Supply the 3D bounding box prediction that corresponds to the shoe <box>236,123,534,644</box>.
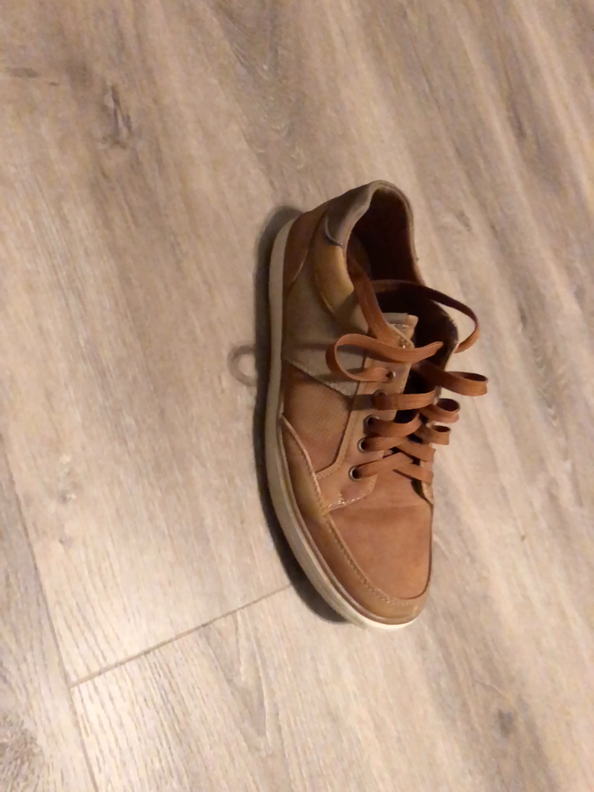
[{"bbox_3d":[0.044,-0.004,0.408,0.111,0.100,0.280,4,72,-33],"label":"shoe"}]
